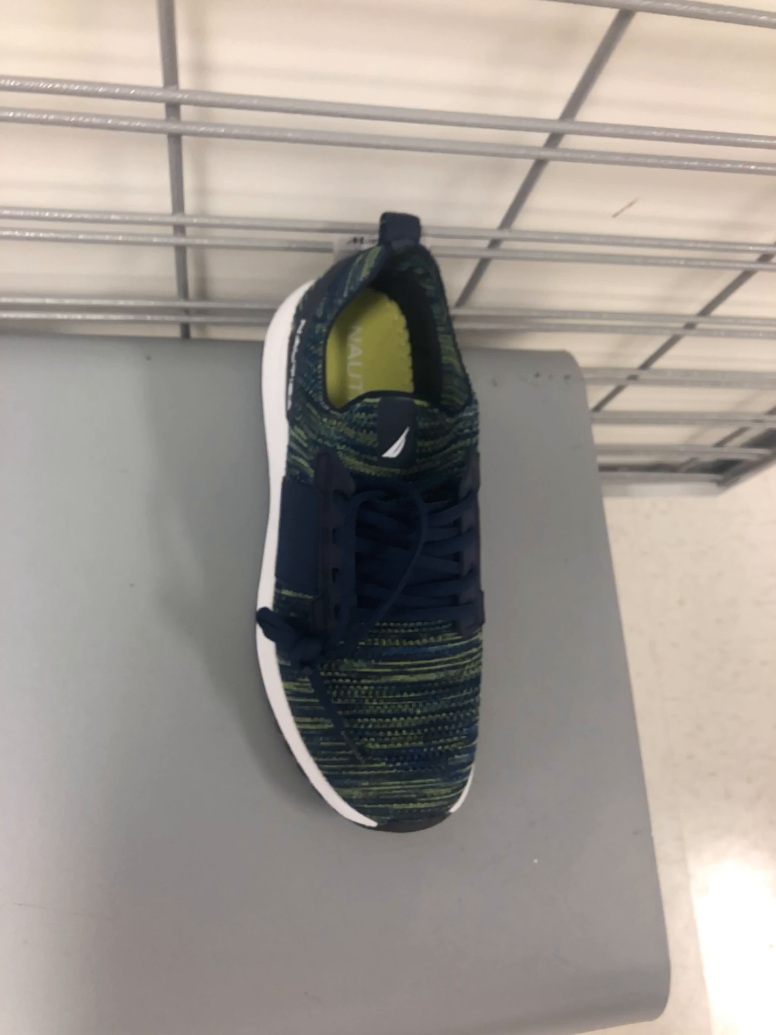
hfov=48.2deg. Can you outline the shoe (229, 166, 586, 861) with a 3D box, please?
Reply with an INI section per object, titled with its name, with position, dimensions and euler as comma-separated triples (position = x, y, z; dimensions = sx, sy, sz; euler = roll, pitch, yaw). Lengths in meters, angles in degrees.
[shoe]
position = -0.005, -0.003, 0.396
dimensions = 0.113, 0.105, 0.276
euler = -2, 76, -14
